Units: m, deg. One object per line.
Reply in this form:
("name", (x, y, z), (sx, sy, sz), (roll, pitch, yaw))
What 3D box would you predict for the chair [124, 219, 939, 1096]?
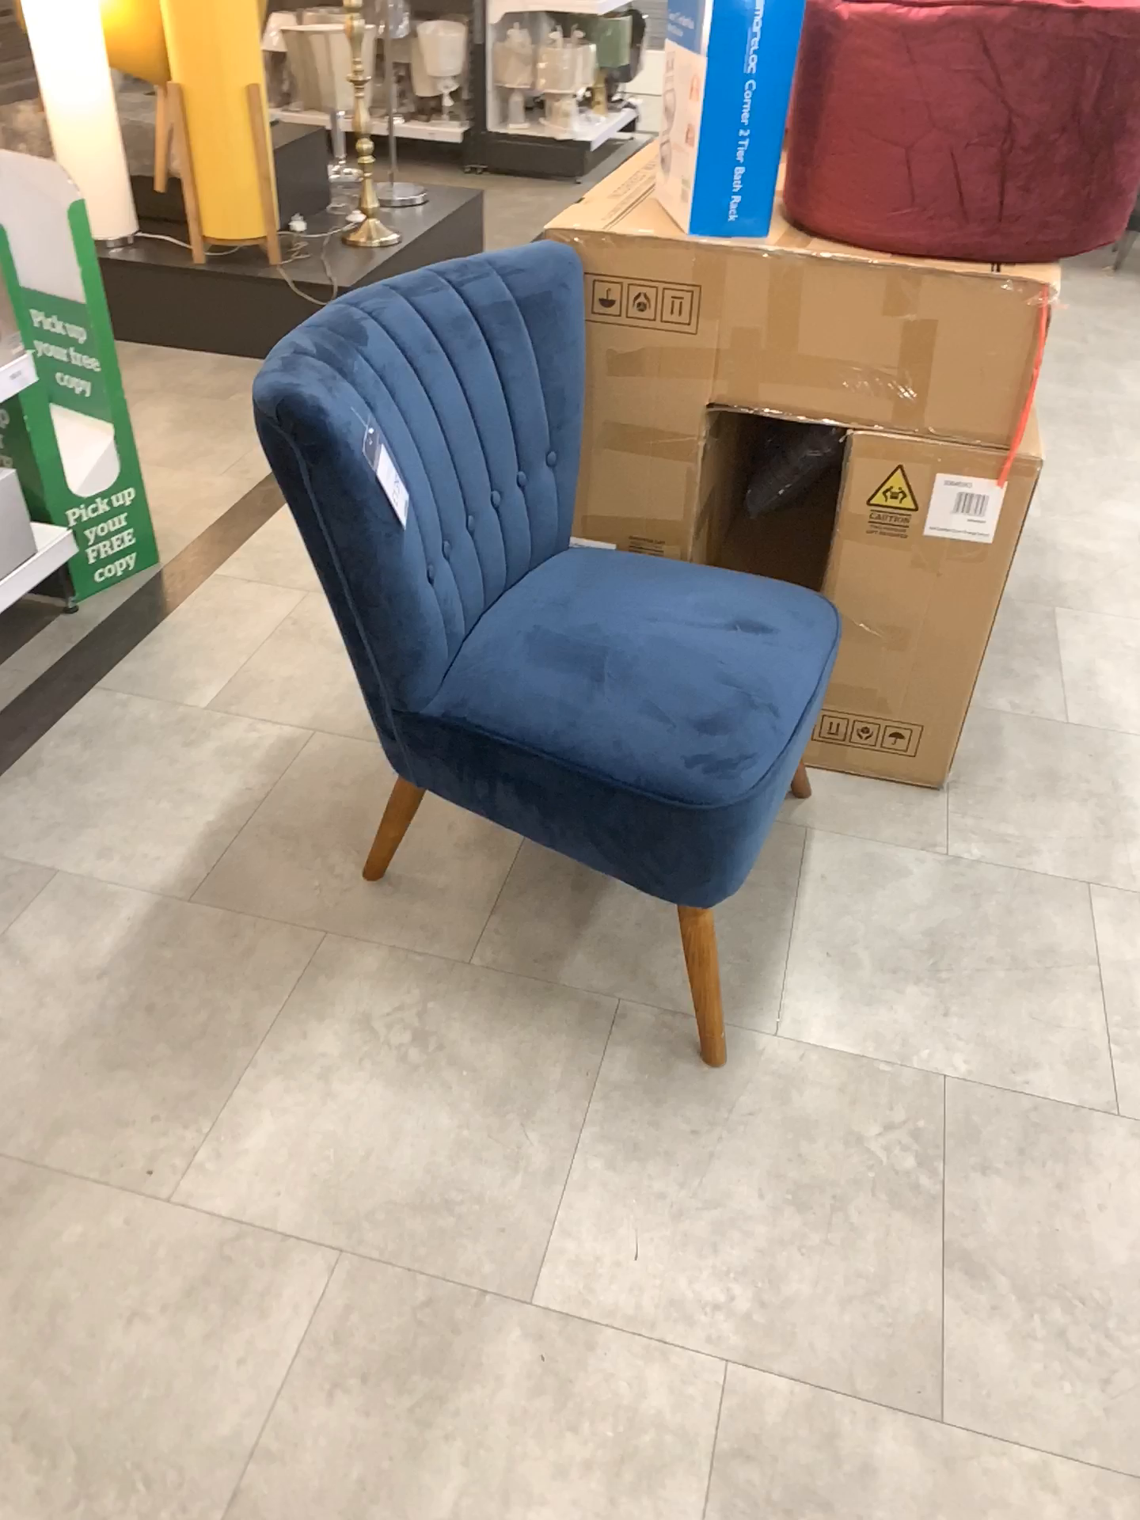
("chair", (0.002, -0.179, 1.556), (0.721, 0.792, 0.696), (14, 39, 15))
